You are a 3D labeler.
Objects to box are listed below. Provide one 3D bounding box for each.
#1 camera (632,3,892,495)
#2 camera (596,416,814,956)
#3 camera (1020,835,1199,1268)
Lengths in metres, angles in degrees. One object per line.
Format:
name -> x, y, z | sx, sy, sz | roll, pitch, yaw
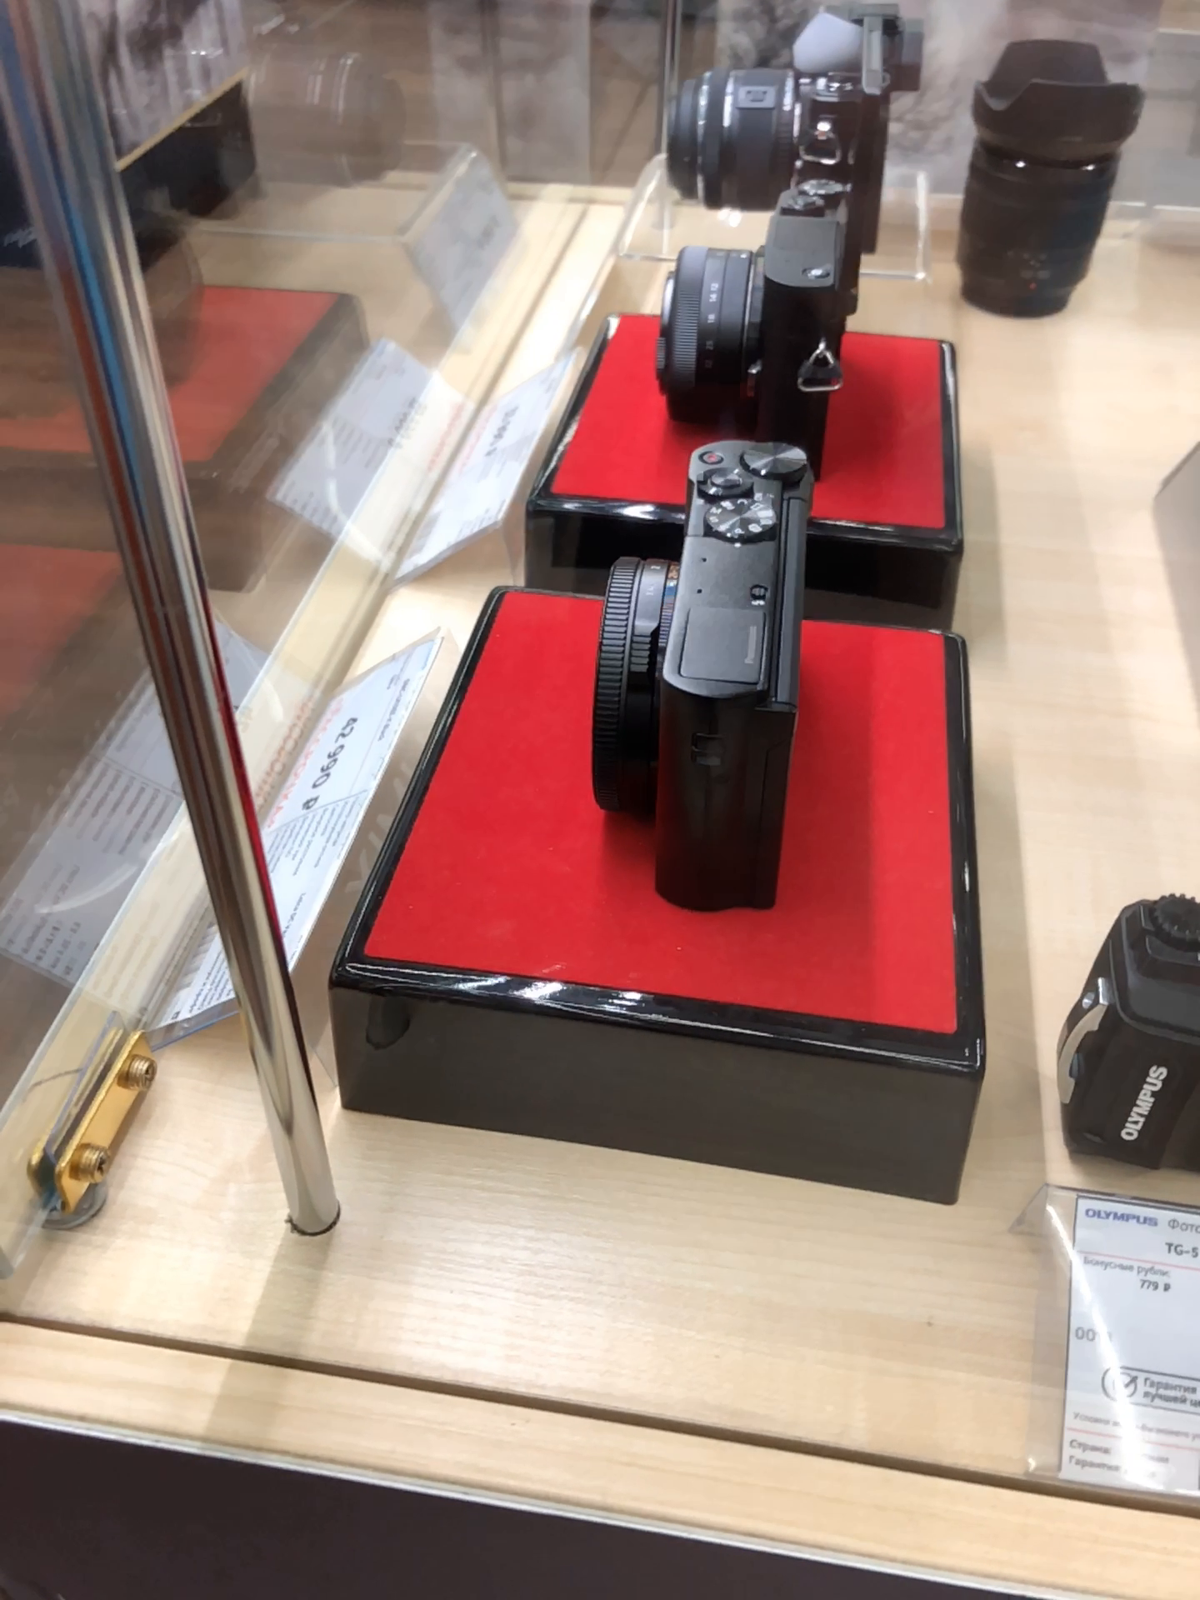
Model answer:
camera -> 0.052, -0.178, 0.426 | 0.066, 0.112, 0.111 | 6, 42, 7
camera -> 0.026, -0.030, 0.308 | 0.040, 0.070, 0.111 | 5, 42, 5
camera -> 0.151, 0.052, 0.274 | 0.110, 0.072, 0.034 | 8, 42, 8
